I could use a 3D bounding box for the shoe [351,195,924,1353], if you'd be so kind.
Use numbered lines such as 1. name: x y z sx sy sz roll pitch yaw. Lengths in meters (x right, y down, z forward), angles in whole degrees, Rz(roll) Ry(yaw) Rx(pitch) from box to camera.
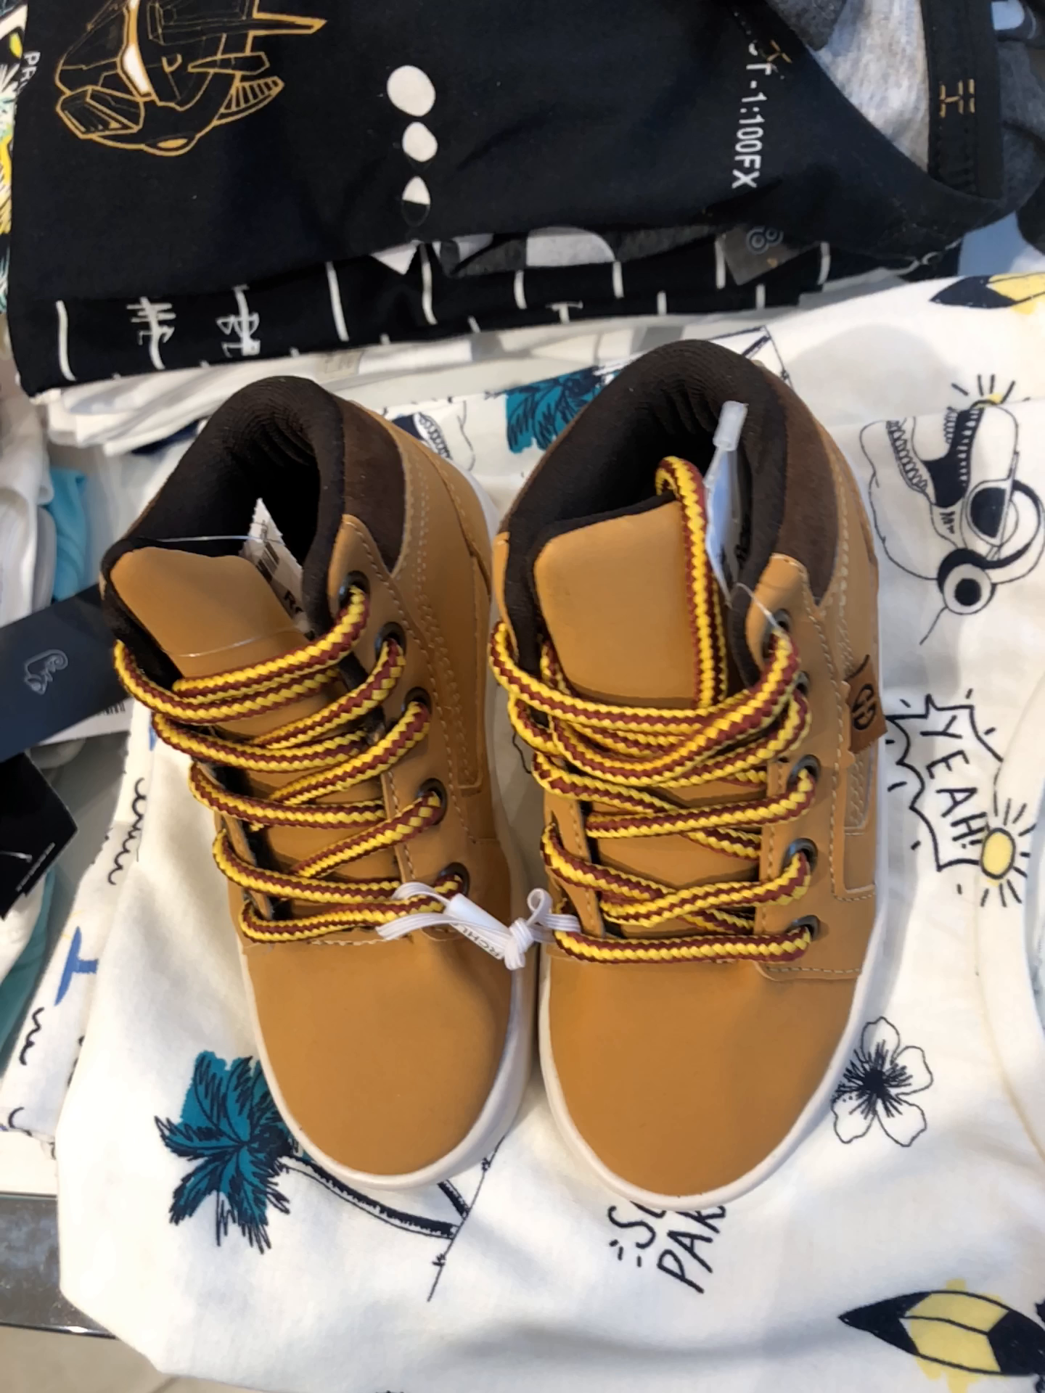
1. shoe: 0.031 0.010 0.222 0.070 0.090 0.170 4 79 17

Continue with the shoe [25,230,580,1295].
1. shoe: -0.037 0.014 0.236 0.070 0.090 0.170 -5 78 15
